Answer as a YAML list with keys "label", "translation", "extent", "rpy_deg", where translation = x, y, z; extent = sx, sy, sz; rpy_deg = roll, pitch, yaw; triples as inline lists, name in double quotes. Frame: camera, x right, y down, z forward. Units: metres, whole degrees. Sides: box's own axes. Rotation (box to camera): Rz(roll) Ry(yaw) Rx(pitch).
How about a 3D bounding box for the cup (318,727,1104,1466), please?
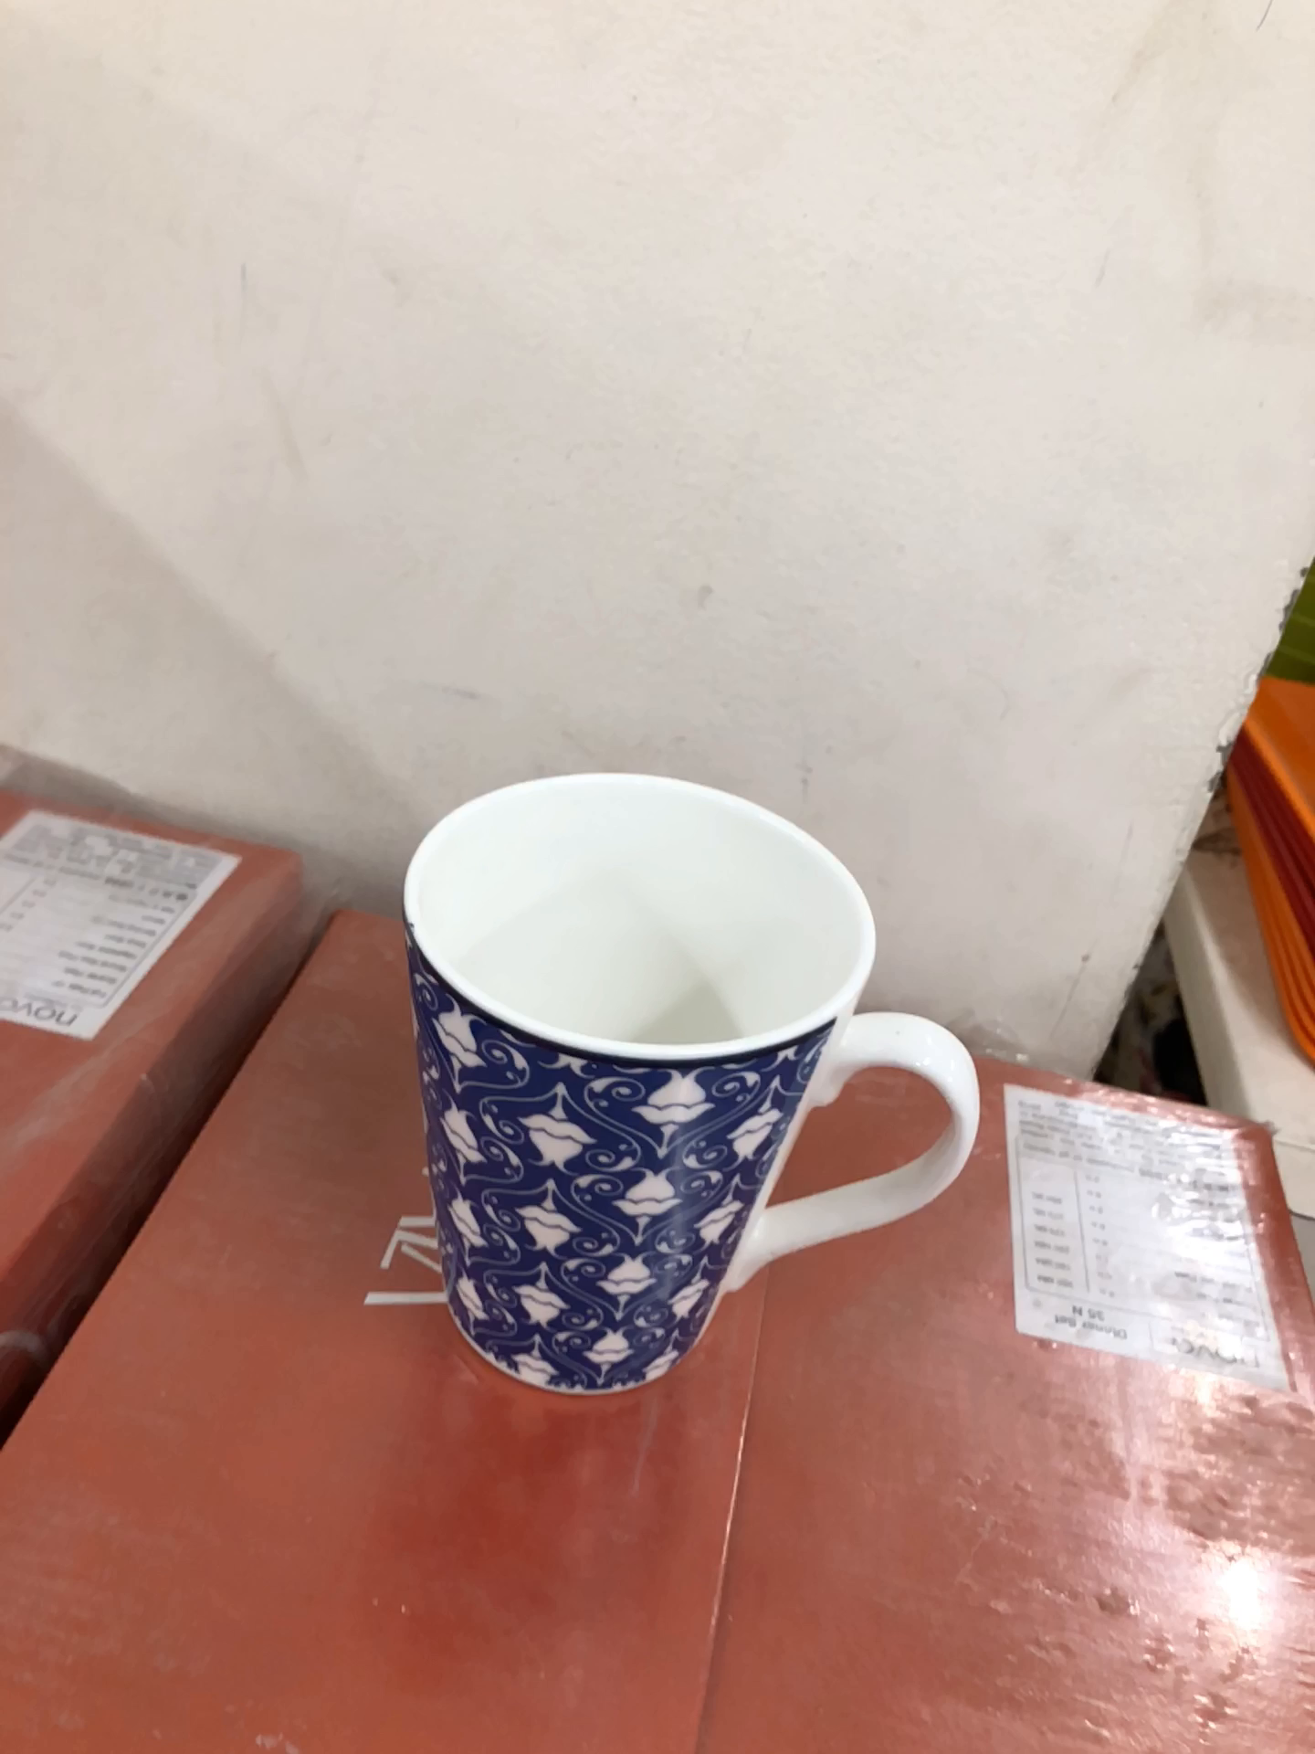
- label: "cup"
  translation: [0.004, 0.042, 0.286]
  extent: [0.120, 0.099, 0.081]
  rpy_deg: [8, 34, -4]
